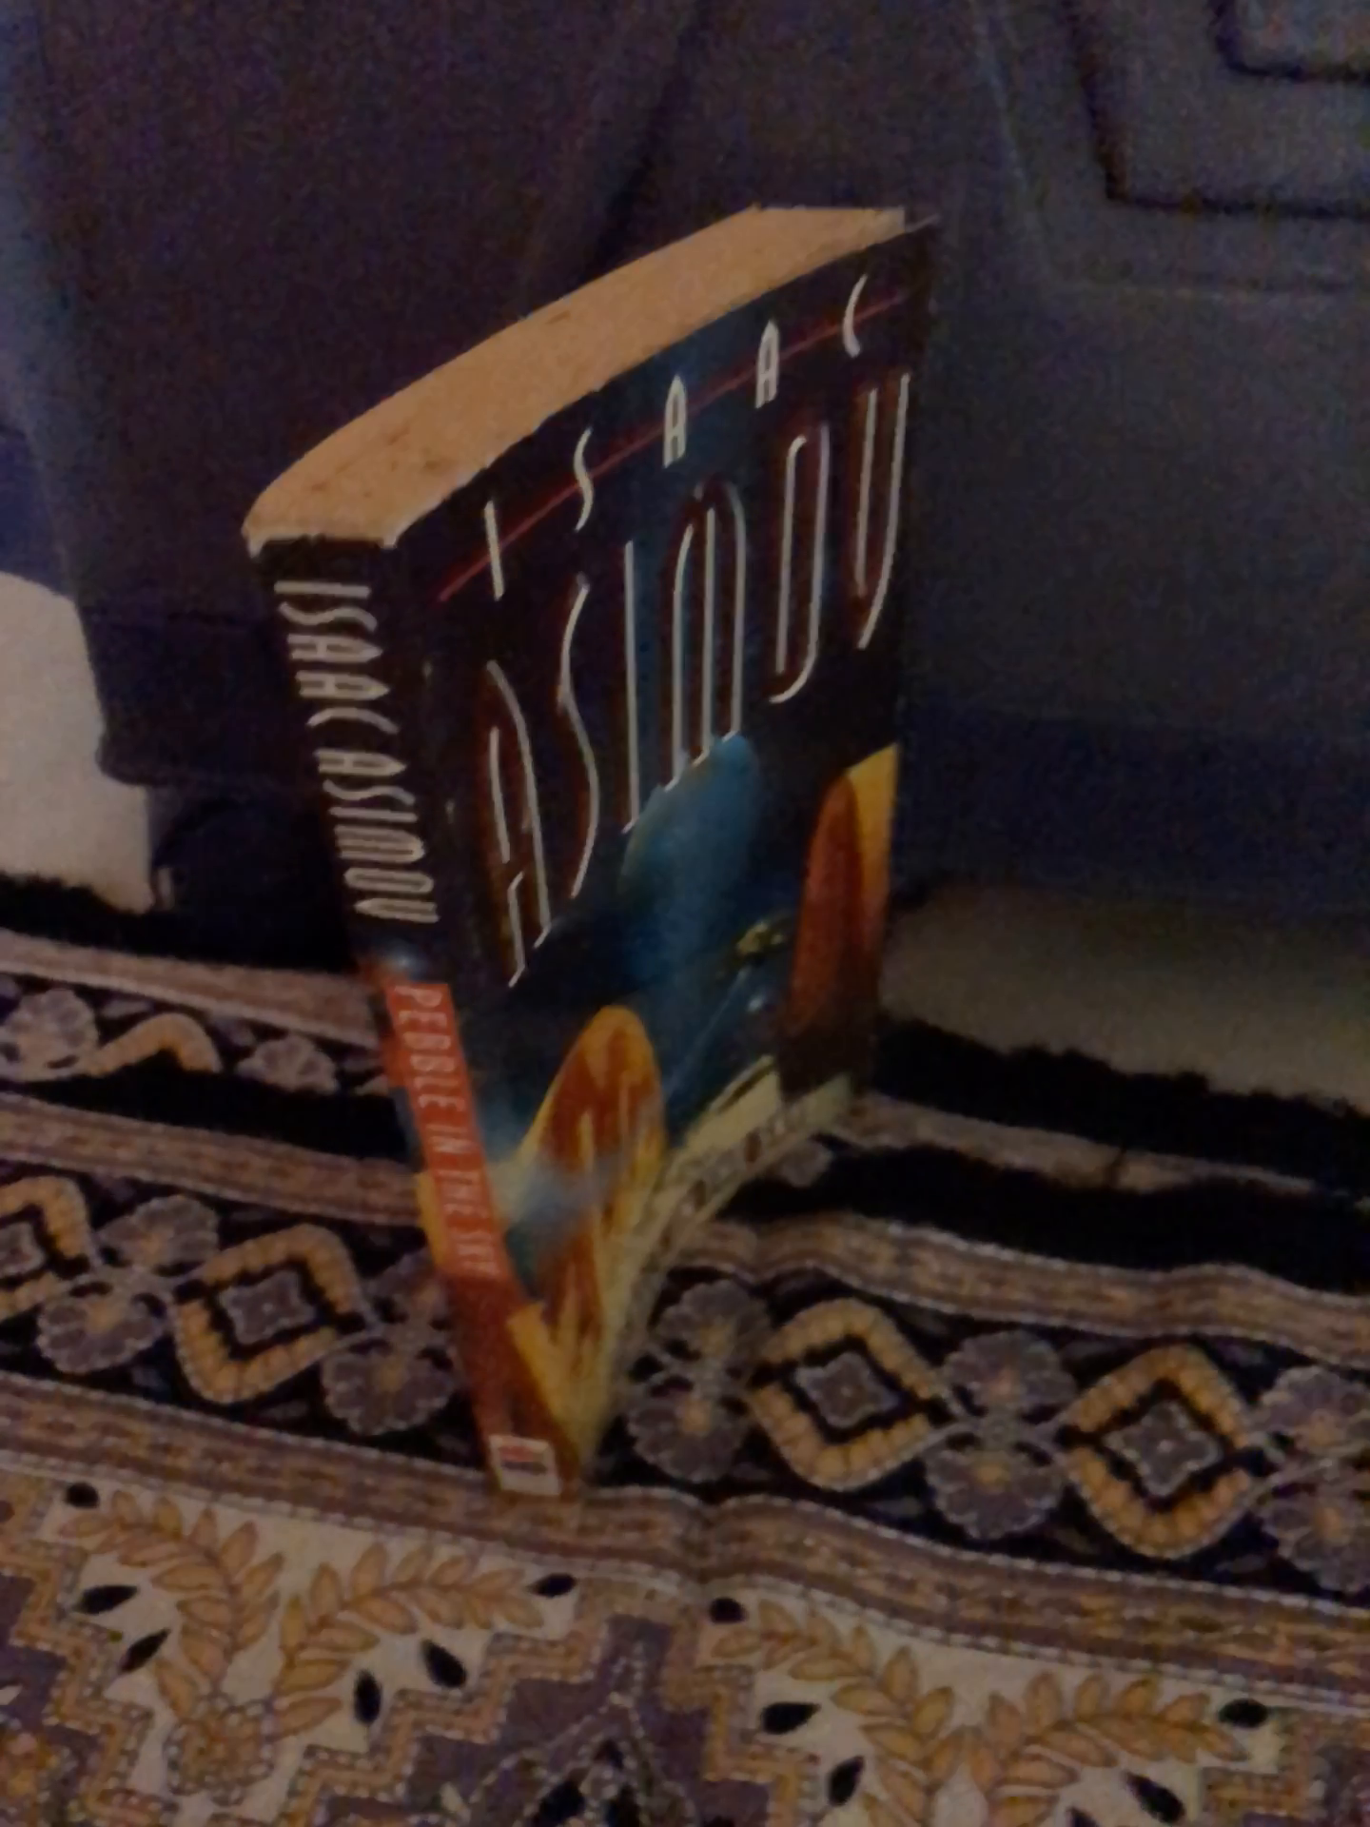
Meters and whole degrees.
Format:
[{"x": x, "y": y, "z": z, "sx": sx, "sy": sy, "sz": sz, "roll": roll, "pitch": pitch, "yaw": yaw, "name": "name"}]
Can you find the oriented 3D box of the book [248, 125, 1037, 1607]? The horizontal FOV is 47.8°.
[{"x": 0.009, "y": -0.008, "z": 0.251, "sx": 0.030, "sy": 0.189, "sz": 0.151, "roll": 17, "pitch": 42, "yaw": 22, "name": "book"}]
